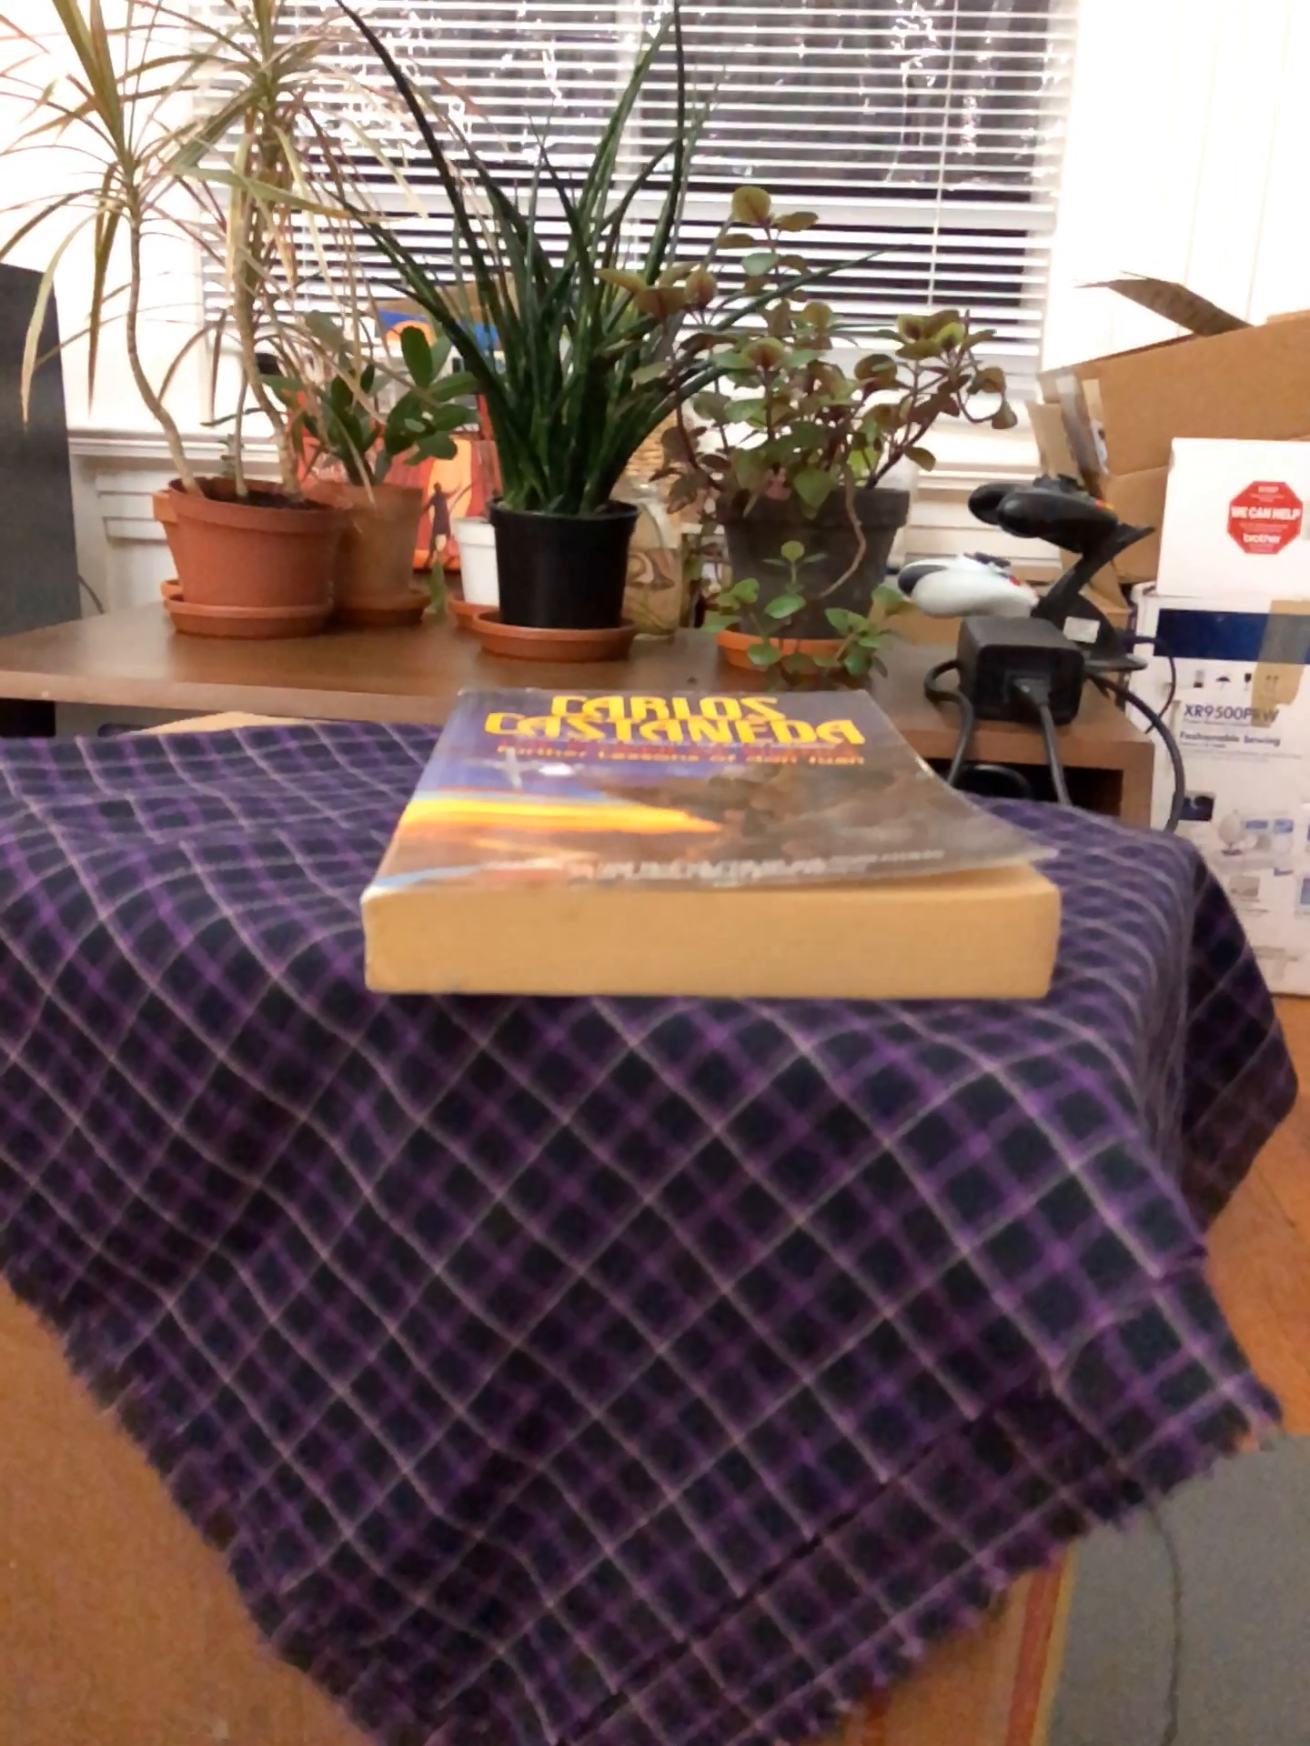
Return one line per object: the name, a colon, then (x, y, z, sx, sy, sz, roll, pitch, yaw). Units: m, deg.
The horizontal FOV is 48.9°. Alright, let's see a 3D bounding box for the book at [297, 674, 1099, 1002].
book: (0.005, -0.020, 0.377, 0.150, 0.020, 0.221, 1, 18, -2)
